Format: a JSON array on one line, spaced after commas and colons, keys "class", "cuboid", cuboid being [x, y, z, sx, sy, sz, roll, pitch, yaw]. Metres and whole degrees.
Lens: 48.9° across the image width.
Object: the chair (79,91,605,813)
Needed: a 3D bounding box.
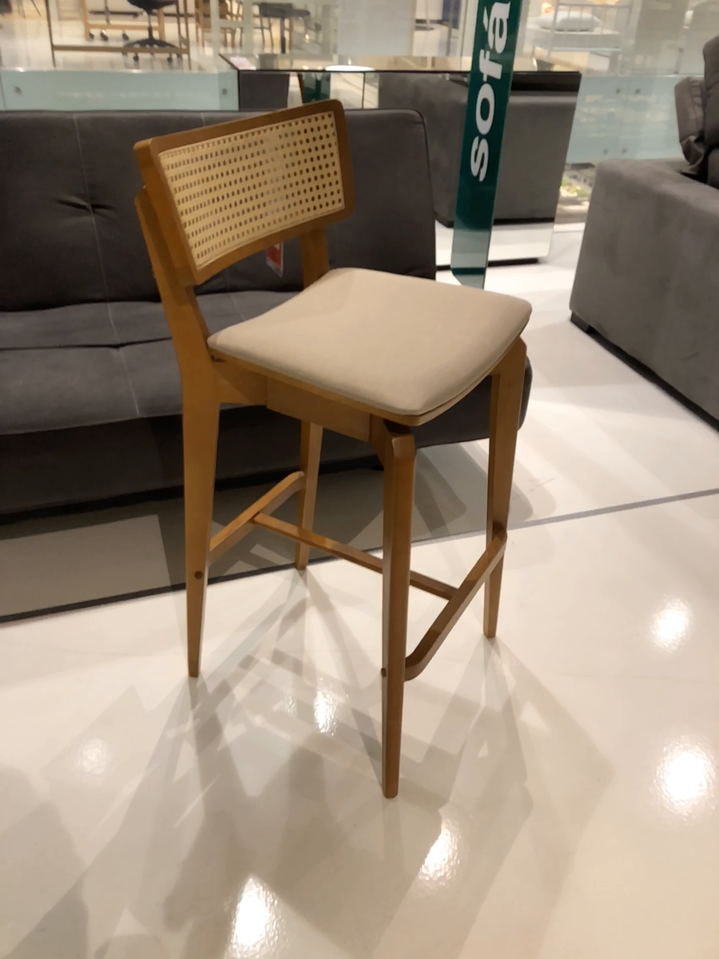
[{"class": "chair", "cuboid": [-0.022, -0.051, 1.296, 0.521, 0.962, 0.473, 19, 36, 23]}]
